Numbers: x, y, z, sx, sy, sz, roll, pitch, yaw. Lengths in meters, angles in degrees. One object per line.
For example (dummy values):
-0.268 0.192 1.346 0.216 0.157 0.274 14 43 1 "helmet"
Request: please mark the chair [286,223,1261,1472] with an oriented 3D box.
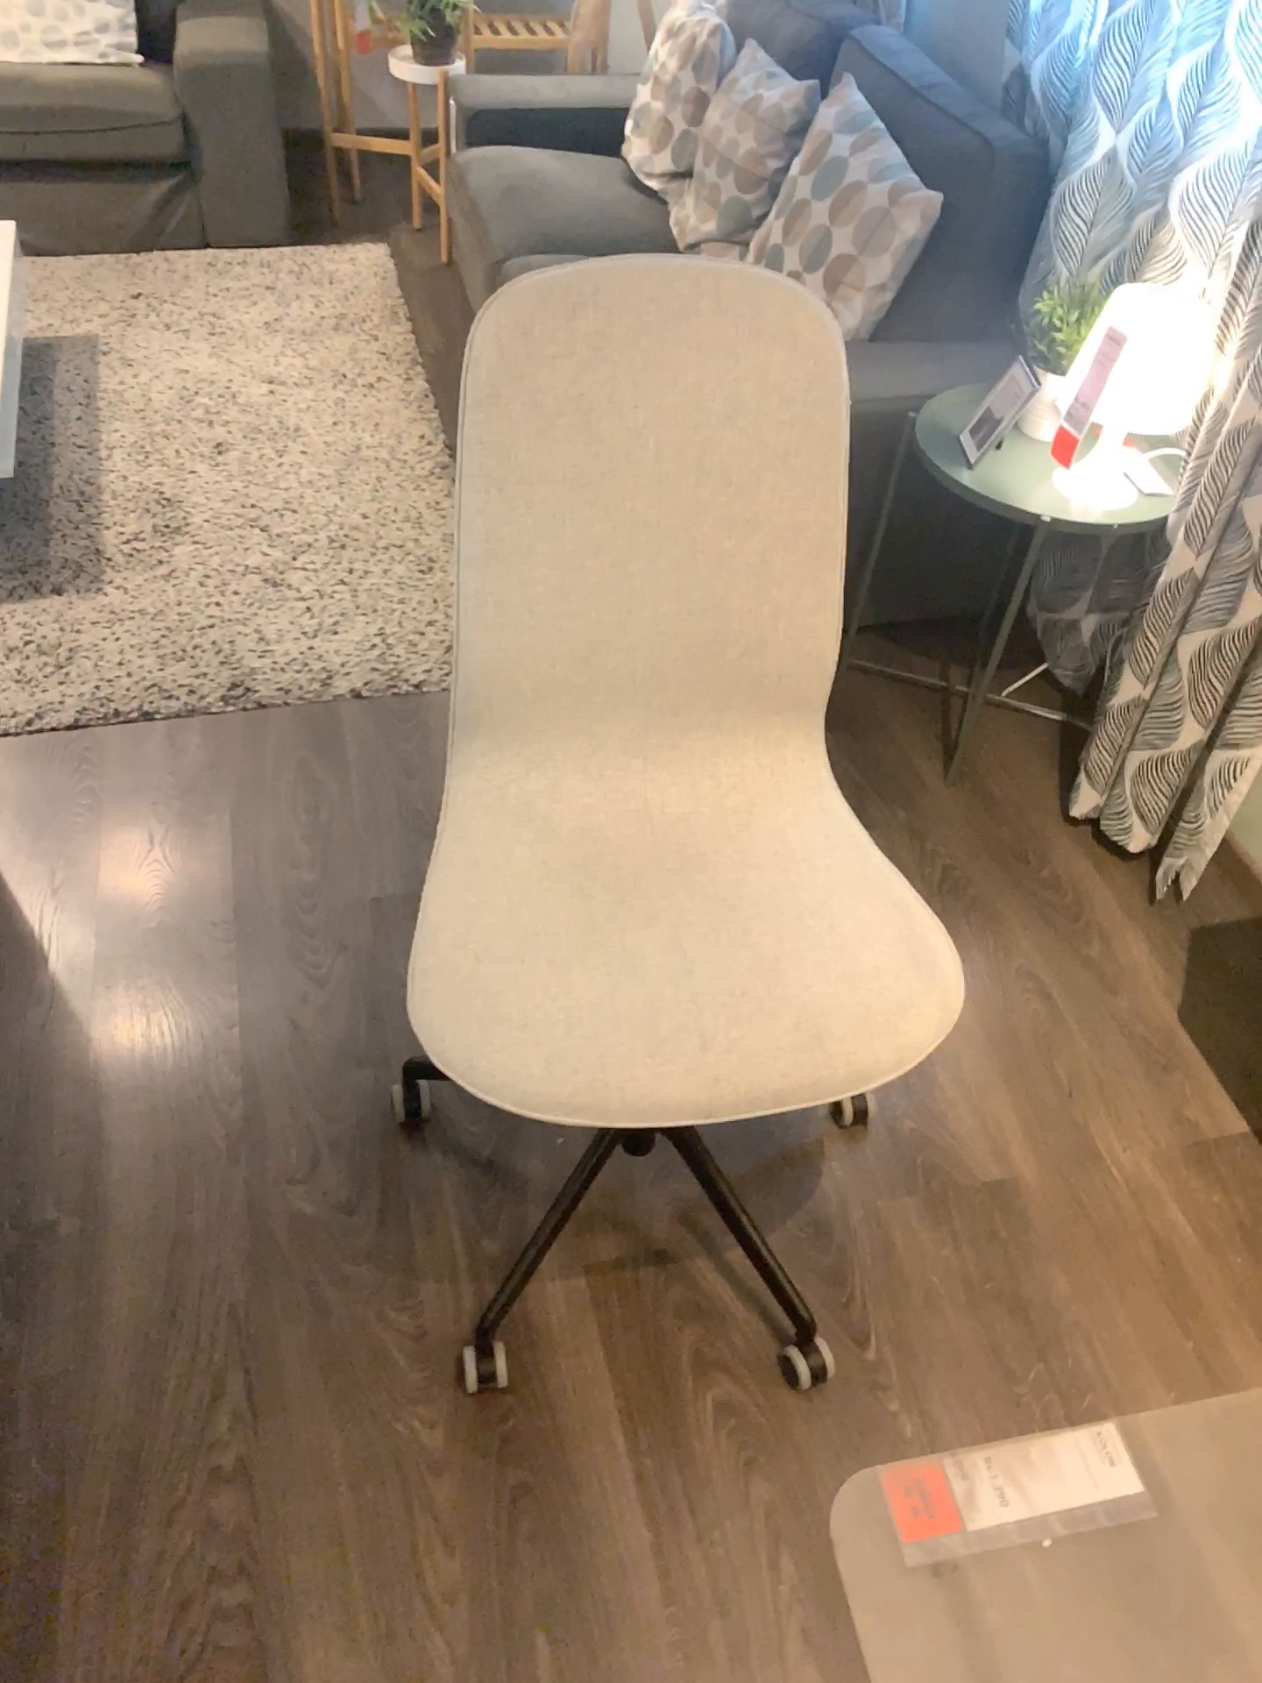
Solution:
0.036 0.029 1.314 0.630 1.006 0.713 -6 46 -13 "chair"
